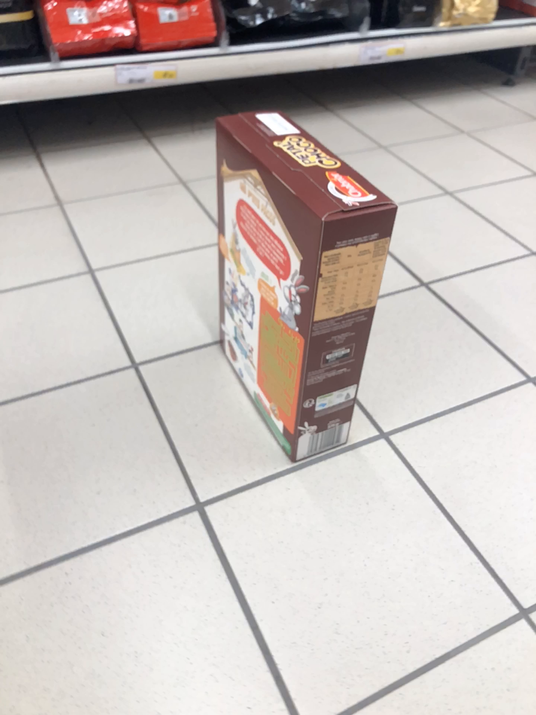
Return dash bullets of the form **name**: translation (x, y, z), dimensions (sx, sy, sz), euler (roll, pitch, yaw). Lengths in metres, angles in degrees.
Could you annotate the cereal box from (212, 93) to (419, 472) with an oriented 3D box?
- **cereal box**: translation (0.022, -0.065, 0.553), dimensions (0.070, 0.278, 0.201), euler (-17, 46, -21)
